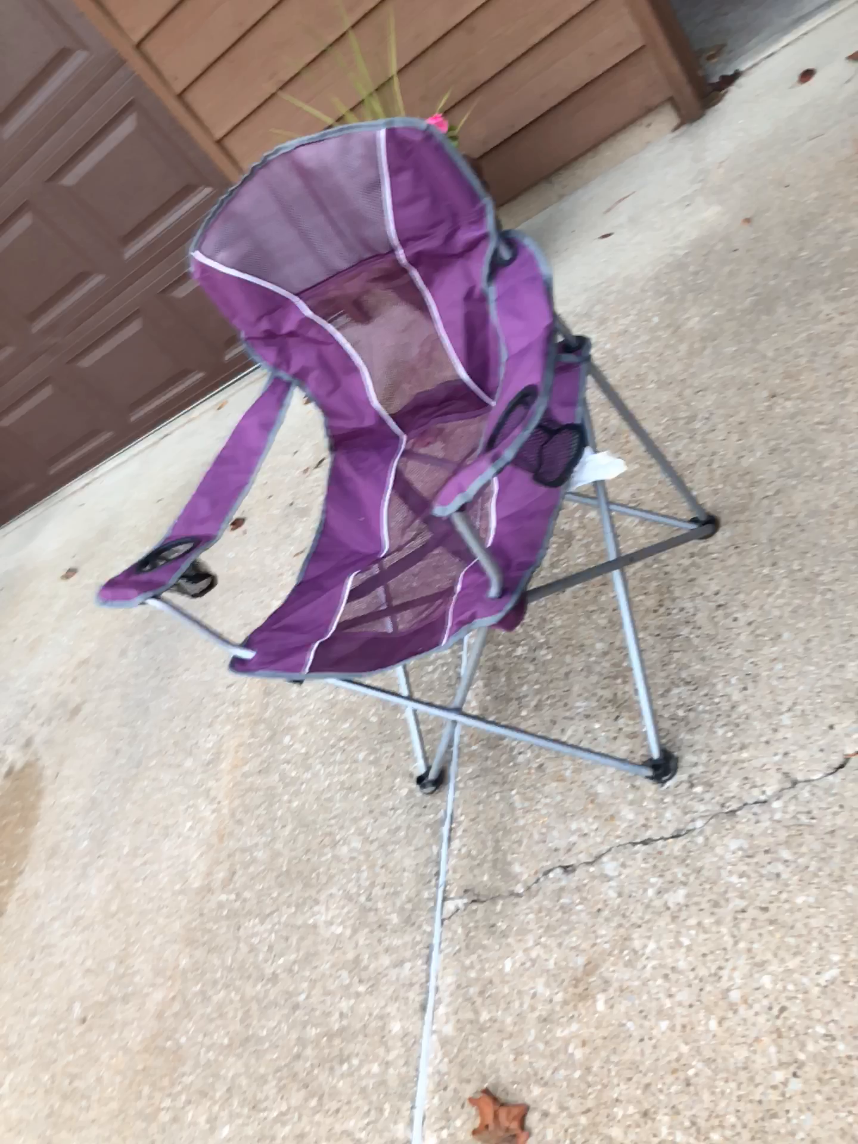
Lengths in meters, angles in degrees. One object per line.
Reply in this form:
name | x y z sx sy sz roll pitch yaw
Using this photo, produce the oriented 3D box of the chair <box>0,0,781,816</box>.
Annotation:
chair | -0.033 -0.158 1.474 0.763 0.877 0.710 -14 43 40
